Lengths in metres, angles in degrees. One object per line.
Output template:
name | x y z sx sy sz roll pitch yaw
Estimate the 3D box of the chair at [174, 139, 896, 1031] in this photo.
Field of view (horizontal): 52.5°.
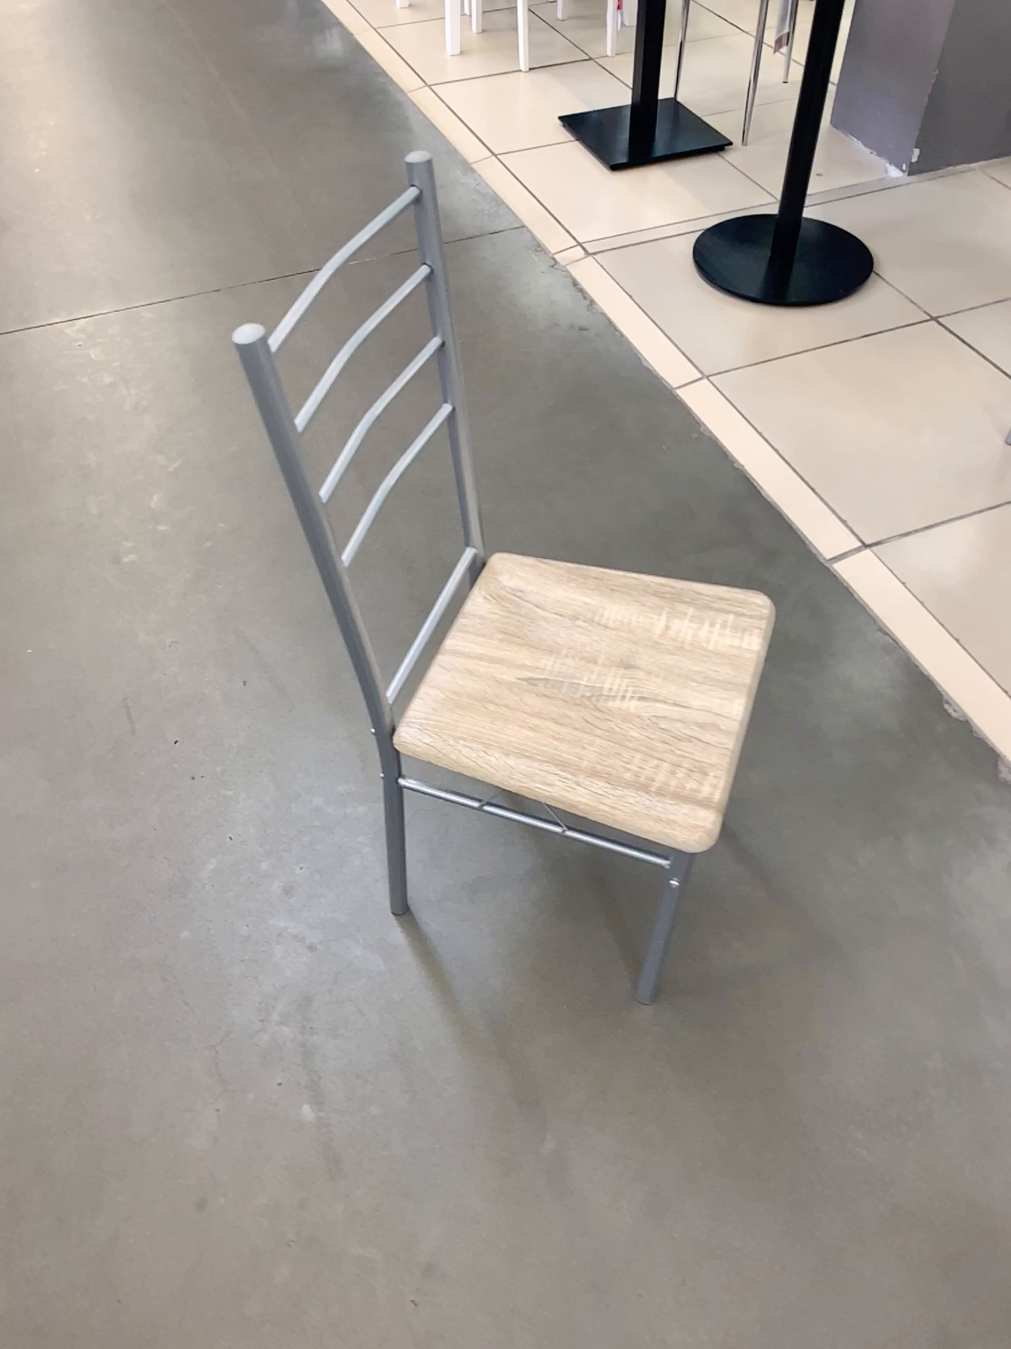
chair | 0.054 -0.044 1.136 0.470 0.836 0.411 15 50 14
